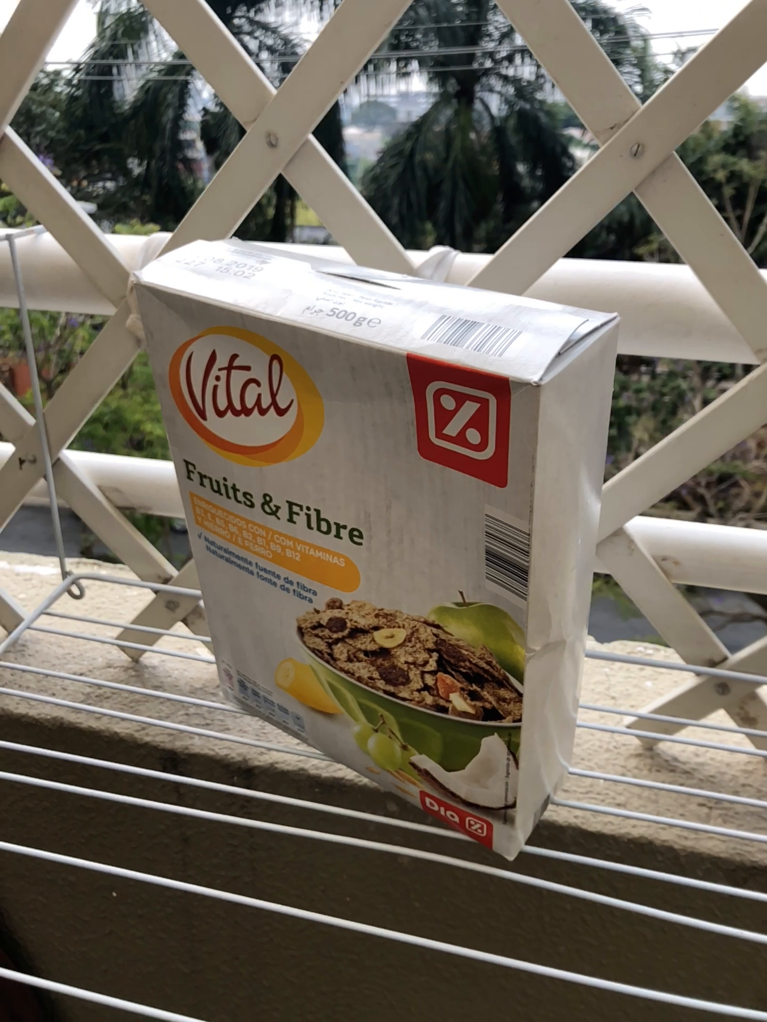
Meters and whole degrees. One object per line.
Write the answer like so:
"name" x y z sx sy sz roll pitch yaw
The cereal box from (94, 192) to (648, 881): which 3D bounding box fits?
"cereal box" -0.007 0.010 0.394 0.211 0.268 0.070 20 41 32
